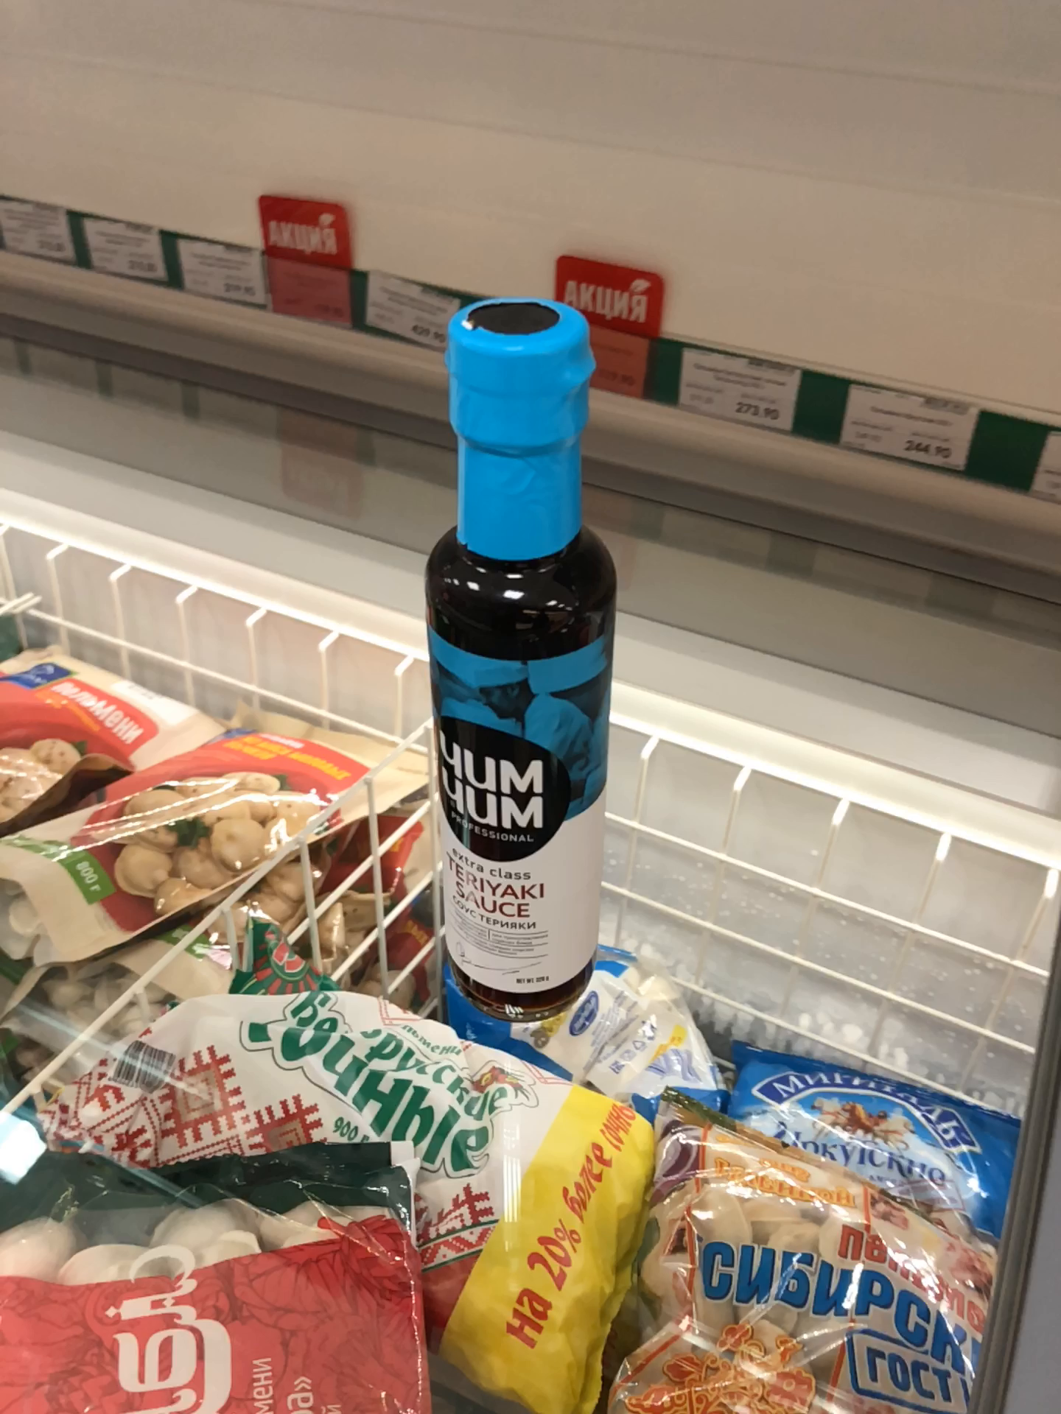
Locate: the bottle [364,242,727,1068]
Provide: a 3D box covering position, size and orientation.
[{"bbox_3d":[0.001,-0.002,0.320,0.060,0.219,0.060,2,37,-1],"label":"bottle"}]
